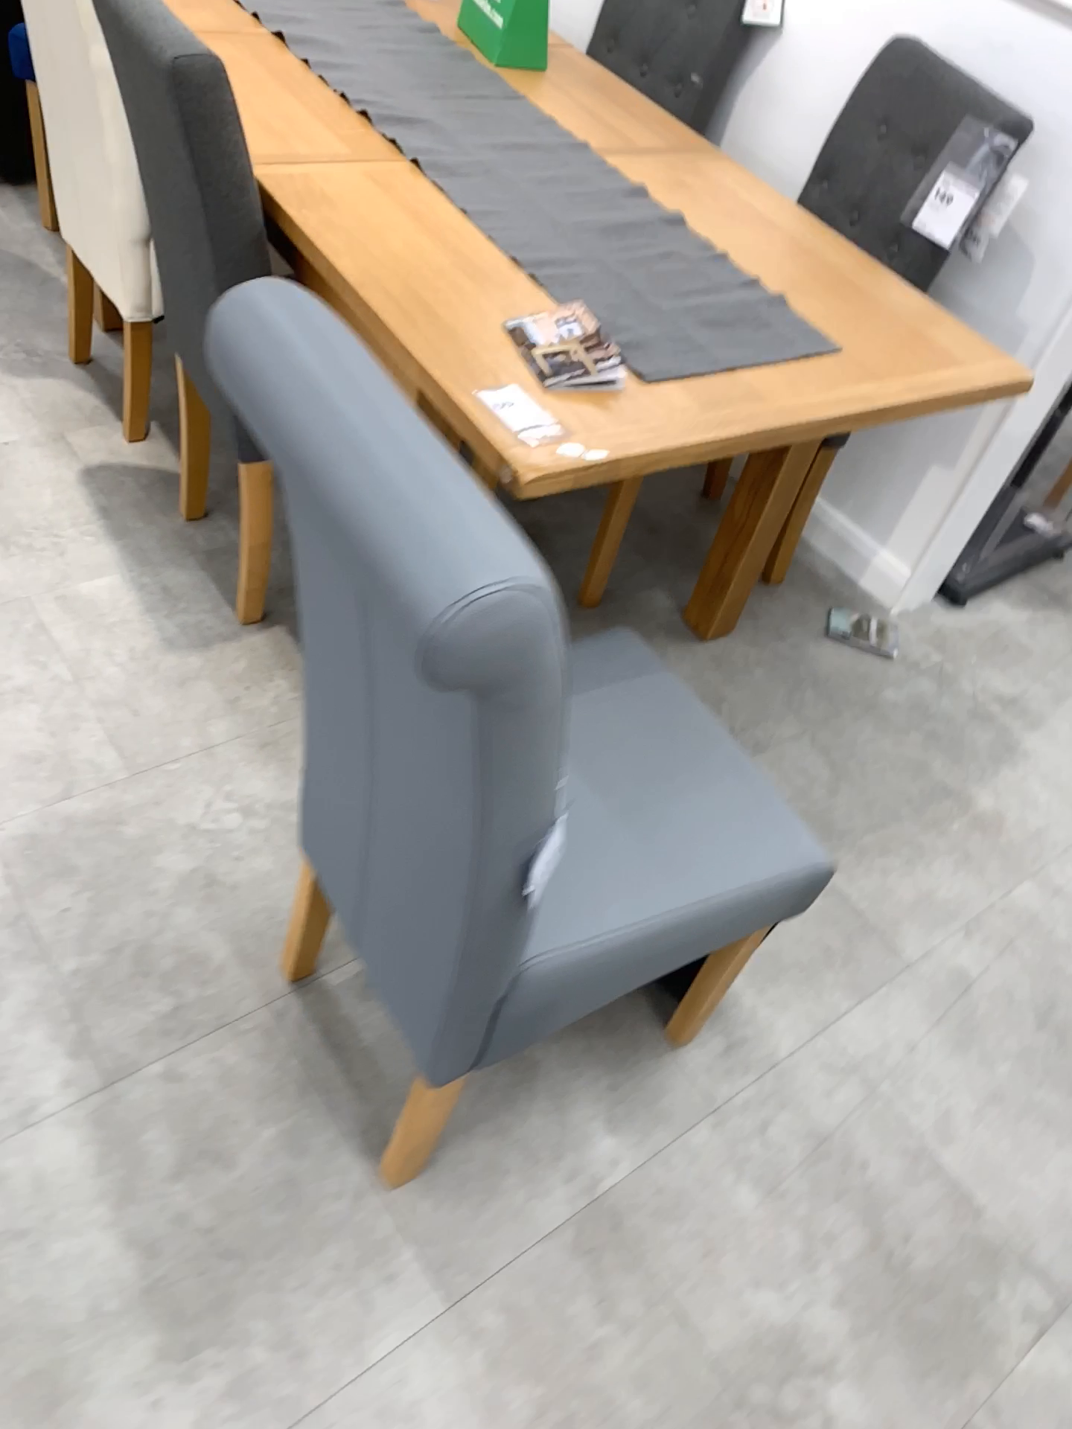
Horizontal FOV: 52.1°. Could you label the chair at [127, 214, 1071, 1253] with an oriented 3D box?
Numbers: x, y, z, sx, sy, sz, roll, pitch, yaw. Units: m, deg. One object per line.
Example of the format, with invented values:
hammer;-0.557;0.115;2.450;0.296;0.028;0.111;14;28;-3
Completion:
chair;-0.002;0.039;1.179;0.656;0.907;0.475;-18;55;-30
